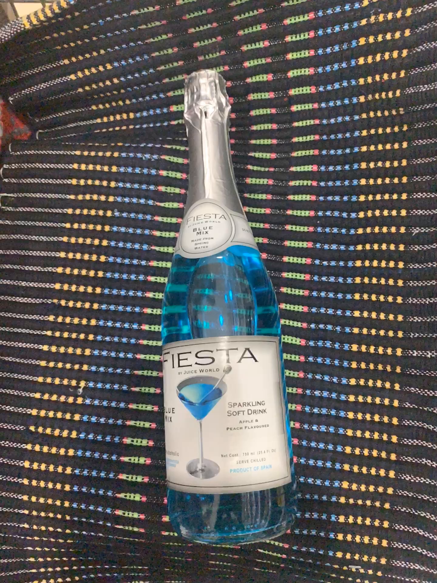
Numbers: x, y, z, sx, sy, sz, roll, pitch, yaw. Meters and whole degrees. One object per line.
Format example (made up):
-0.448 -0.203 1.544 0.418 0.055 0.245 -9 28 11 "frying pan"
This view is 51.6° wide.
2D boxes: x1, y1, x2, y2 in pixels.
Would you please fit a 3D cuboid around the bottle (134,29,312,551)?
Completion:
0.003 -0.007 0.319 0.080 0.100 0.310 -8 76 18 "bottle"
